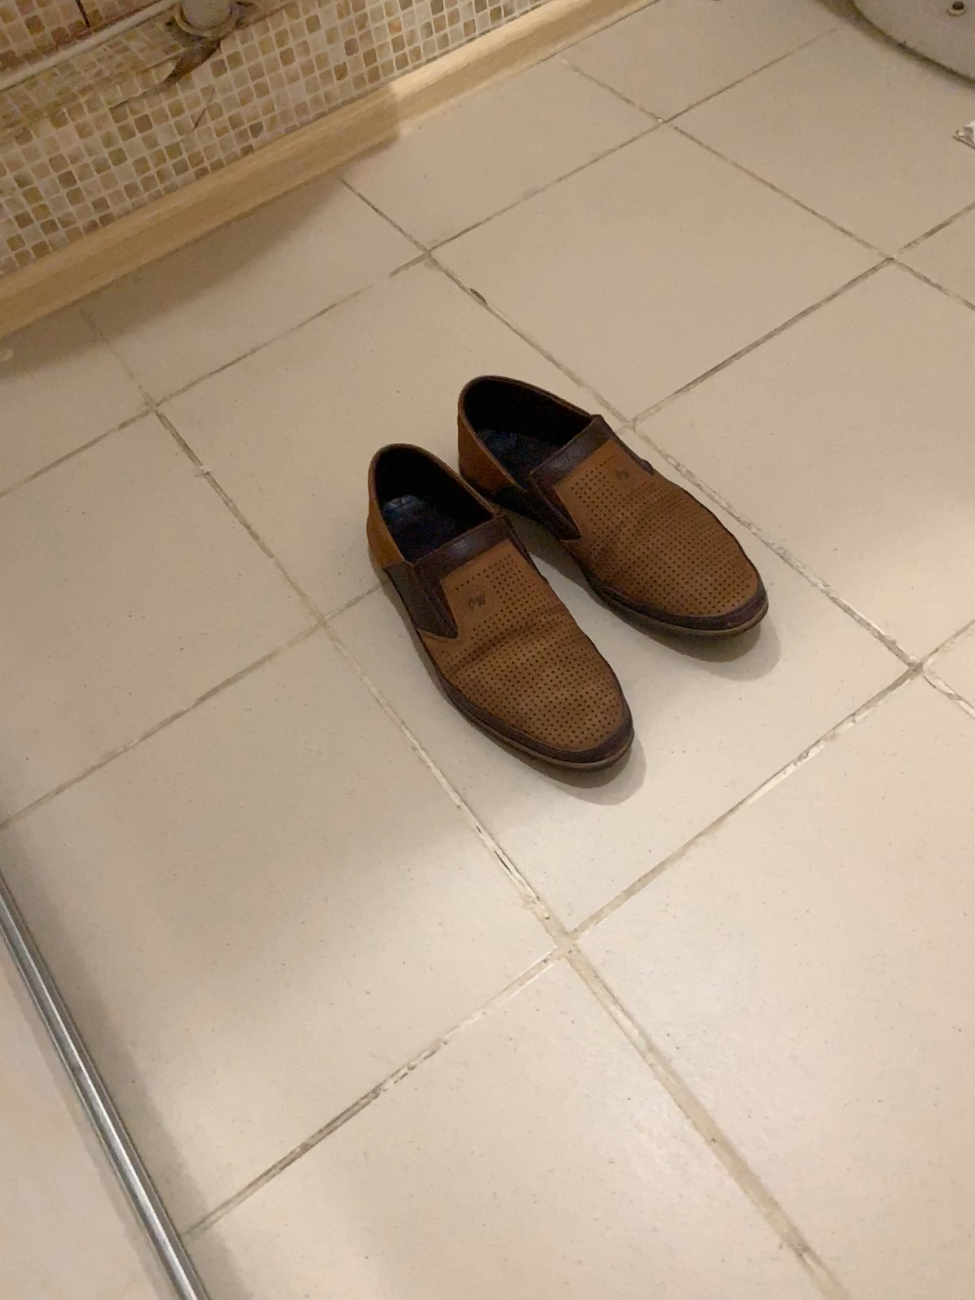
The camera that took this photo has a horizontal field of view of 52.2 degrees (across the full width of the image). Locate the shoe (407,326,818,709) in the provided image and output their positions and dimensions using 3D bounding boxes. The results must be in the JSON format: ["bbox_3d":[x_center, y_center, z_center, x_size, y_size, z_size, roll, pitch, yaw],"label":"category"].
[{"bbox_3d":[0.080,-0.105,0.722,0.110,0.090,0.291,-38,61,-15],"label":"shoe"}]

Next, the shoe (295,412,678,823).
[{"bbox_3d":[-0.006,-0.031,0.669,0.110,0.080,0.271,-34,60,-13],"label":"shoe"}]
